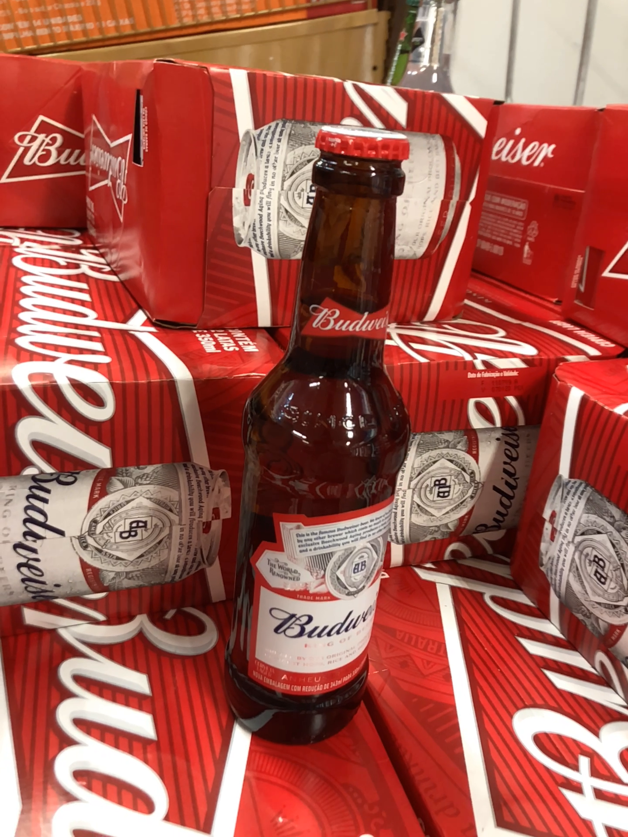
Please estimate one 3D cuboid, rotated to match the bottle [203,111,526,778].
[{"bbox_3d":[0.006,0.016,0.256,0.070,0.228,0.060,-8,28,-29],"label":"bottle"}]
